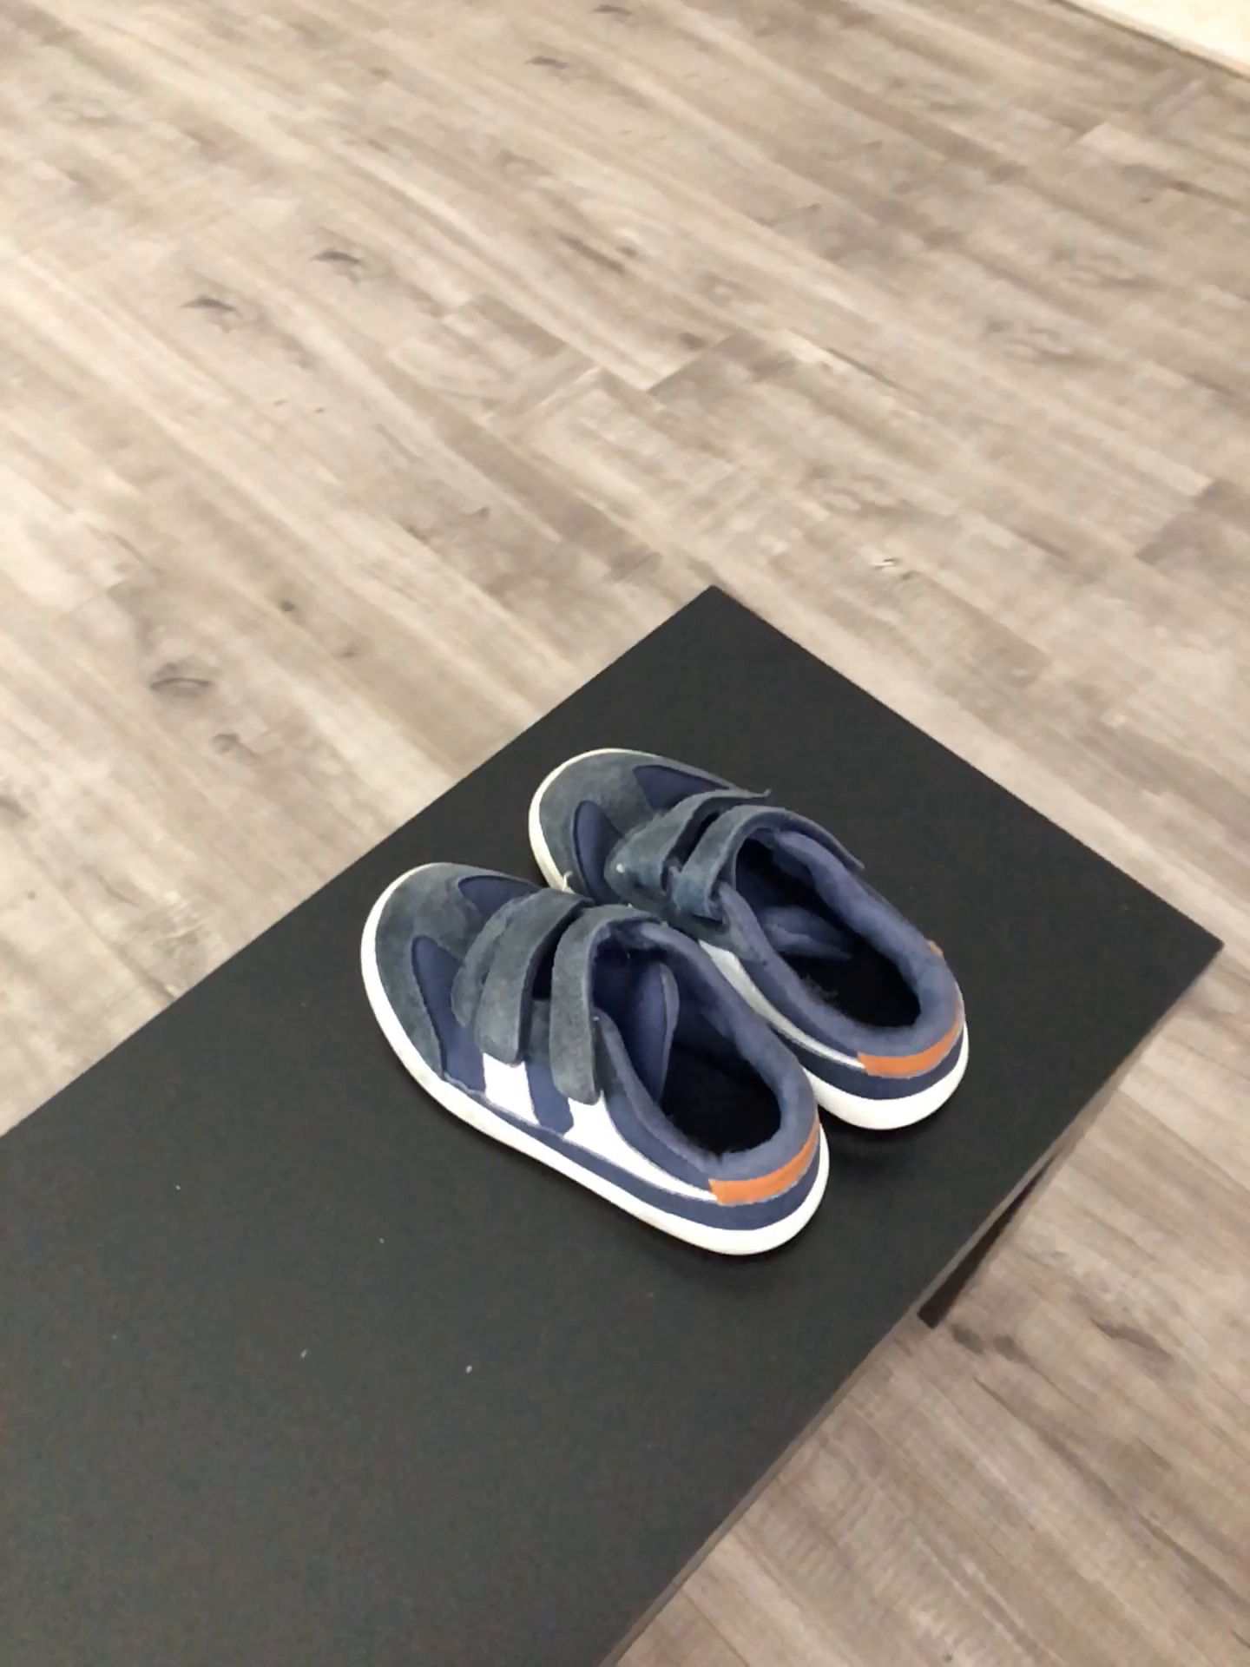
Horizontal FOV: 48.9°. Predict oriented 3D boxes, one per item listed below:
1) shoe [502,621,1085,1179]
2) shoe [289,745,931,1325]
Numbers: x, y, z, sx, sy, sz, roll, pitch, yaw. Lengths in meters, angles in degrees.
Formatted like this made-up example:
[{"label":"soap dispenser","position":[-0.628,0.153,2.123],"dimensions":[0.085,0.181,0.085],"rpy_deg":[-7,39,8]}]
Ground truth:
[{"label":"shoe","position":[0.052,0.018,0.484],"dimensions":[0.082,0.068,0.185],"rpy_deg":[-39,63,-22]},{"label":"shoe","position":[-0.007,0.062,0.457],"dimensions":[0.185,0.068,0.088],"rpy_deg":[31,62,21]}]
